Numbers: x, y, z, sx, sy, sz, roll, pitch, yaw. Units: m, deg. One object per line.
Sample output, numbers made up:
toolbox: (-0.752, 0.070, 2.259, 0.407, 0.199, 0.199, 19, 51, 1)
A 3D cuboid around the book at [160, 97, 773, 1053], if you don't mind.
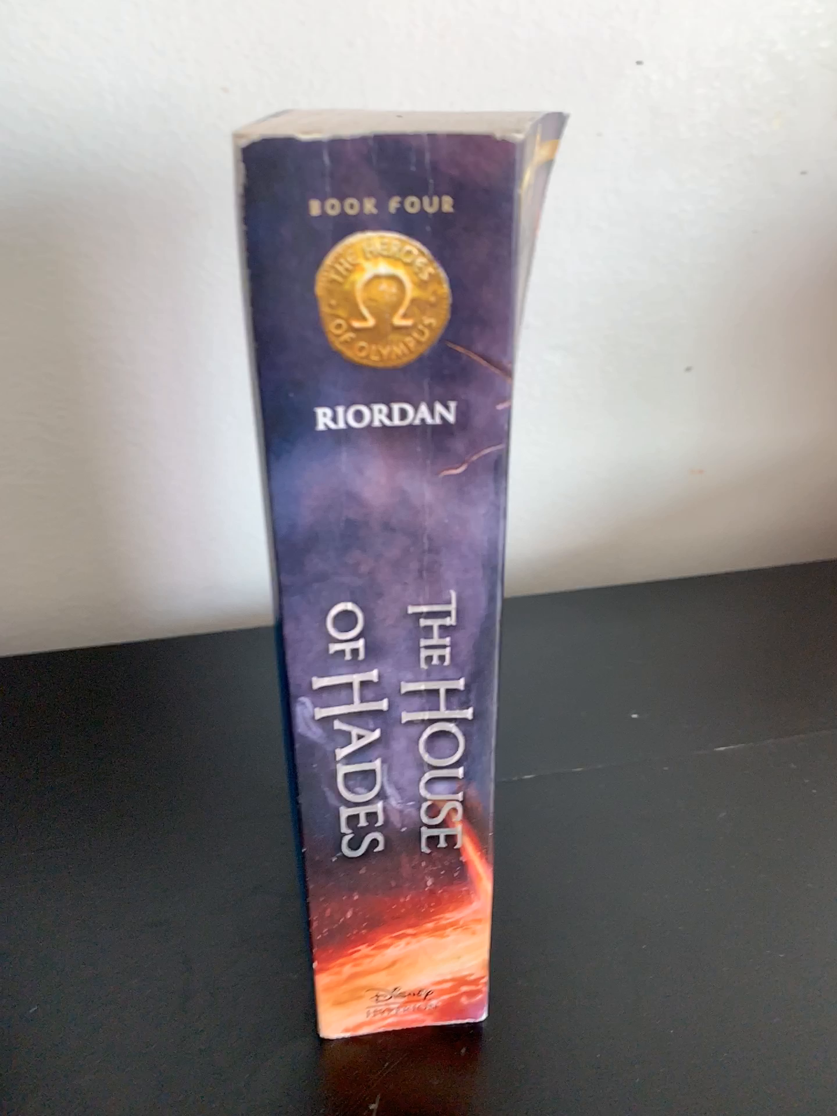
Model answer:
book: (0.000, -0.011, 0.212, 0.077, 0.176, 0.145, -3, 26, -6)
